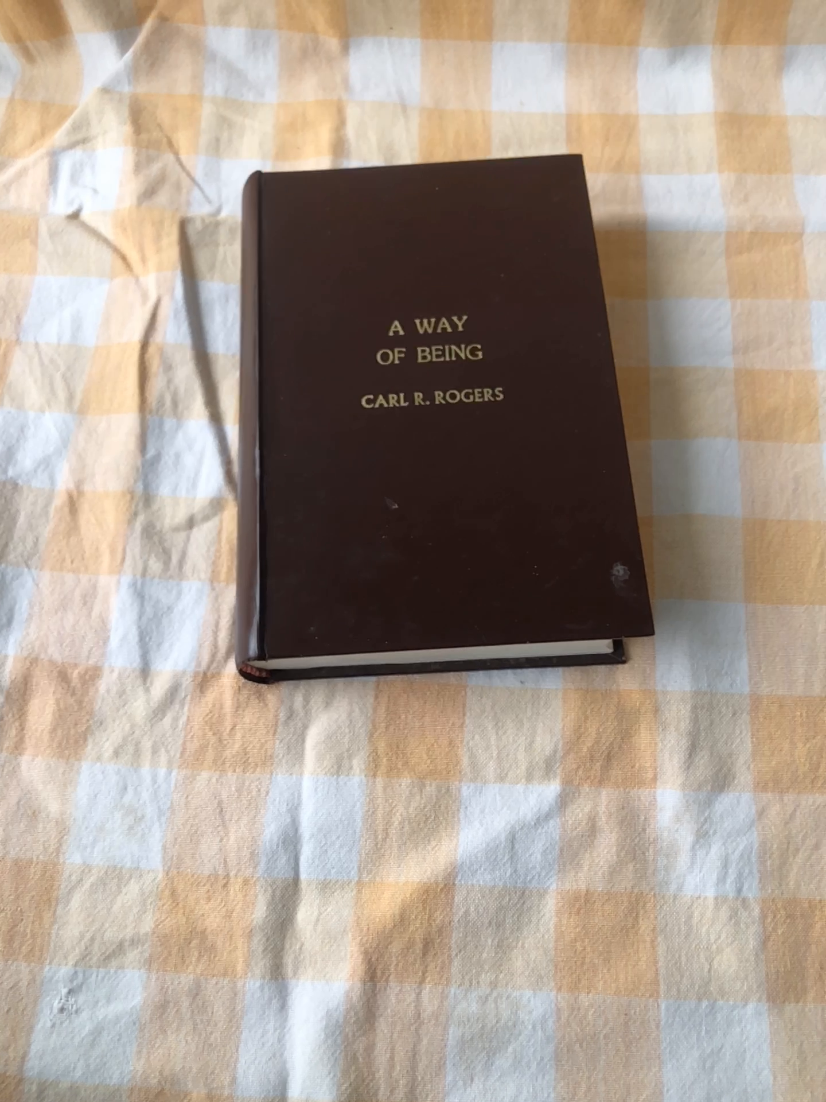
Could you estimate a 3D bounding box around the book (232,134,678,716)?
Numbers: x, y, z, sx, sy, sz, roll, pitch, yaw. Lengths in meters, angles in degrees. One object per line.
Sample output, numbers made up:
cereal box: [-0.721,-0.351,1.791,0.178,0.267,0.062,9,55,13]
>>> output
book: [0.008,-0.051,0.352,0.140,0.060,0.210,-3,70,0]
